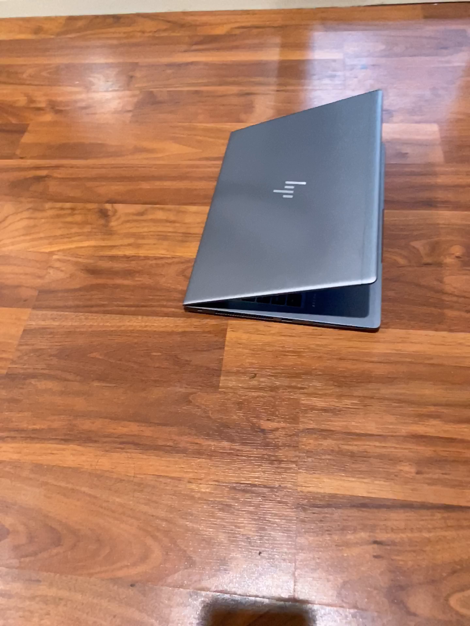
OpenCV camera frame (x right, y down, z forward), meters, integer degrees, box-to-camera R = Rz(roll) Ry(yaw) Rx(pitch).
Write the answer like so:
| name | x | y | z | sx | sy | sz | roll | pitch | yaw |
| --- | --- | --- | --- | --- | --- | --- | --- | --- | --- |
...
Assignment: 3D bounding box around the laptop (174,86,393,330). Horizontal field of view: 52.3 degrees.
| name | x | y | z | sx | sy | sz | roll | pitch | yaw |
| --- | --- | --- | --- | --- | --- | --- | --- | --- | --- |
| laptop | 0.077 | -0.153 | 0.616 | 0.230 | 0.078 | 0.326 | 7 | 59 | 8 |
